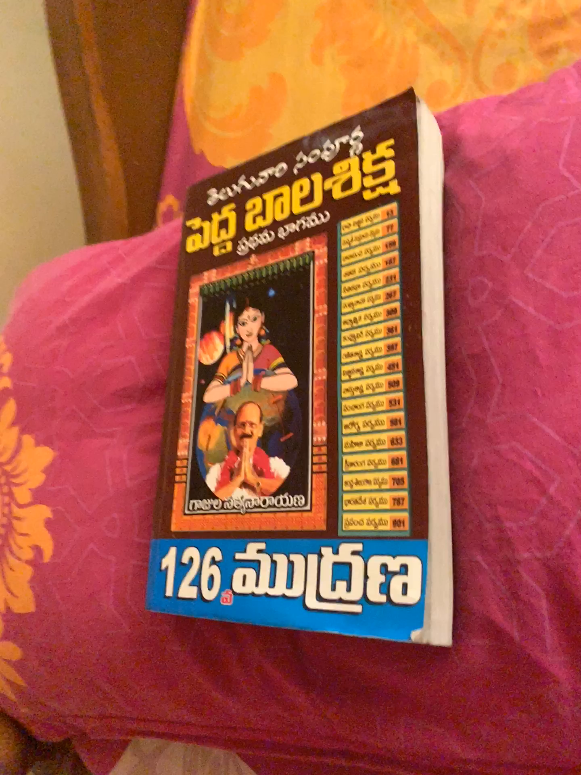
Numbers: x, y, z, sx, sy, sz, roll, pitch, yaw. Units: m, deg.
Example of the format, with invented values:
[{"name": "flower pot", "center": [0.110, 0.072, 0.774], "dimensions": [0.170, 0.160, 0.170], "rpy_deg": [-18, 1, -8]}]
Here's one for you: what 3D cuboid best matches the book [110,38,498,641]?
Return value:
[{"name": "book", "center": [0.002, -0.020, 0.312], "dimensions": [0.181, 0.050, 0.260], "rpy_deg": [-9, 69, 35]}]
